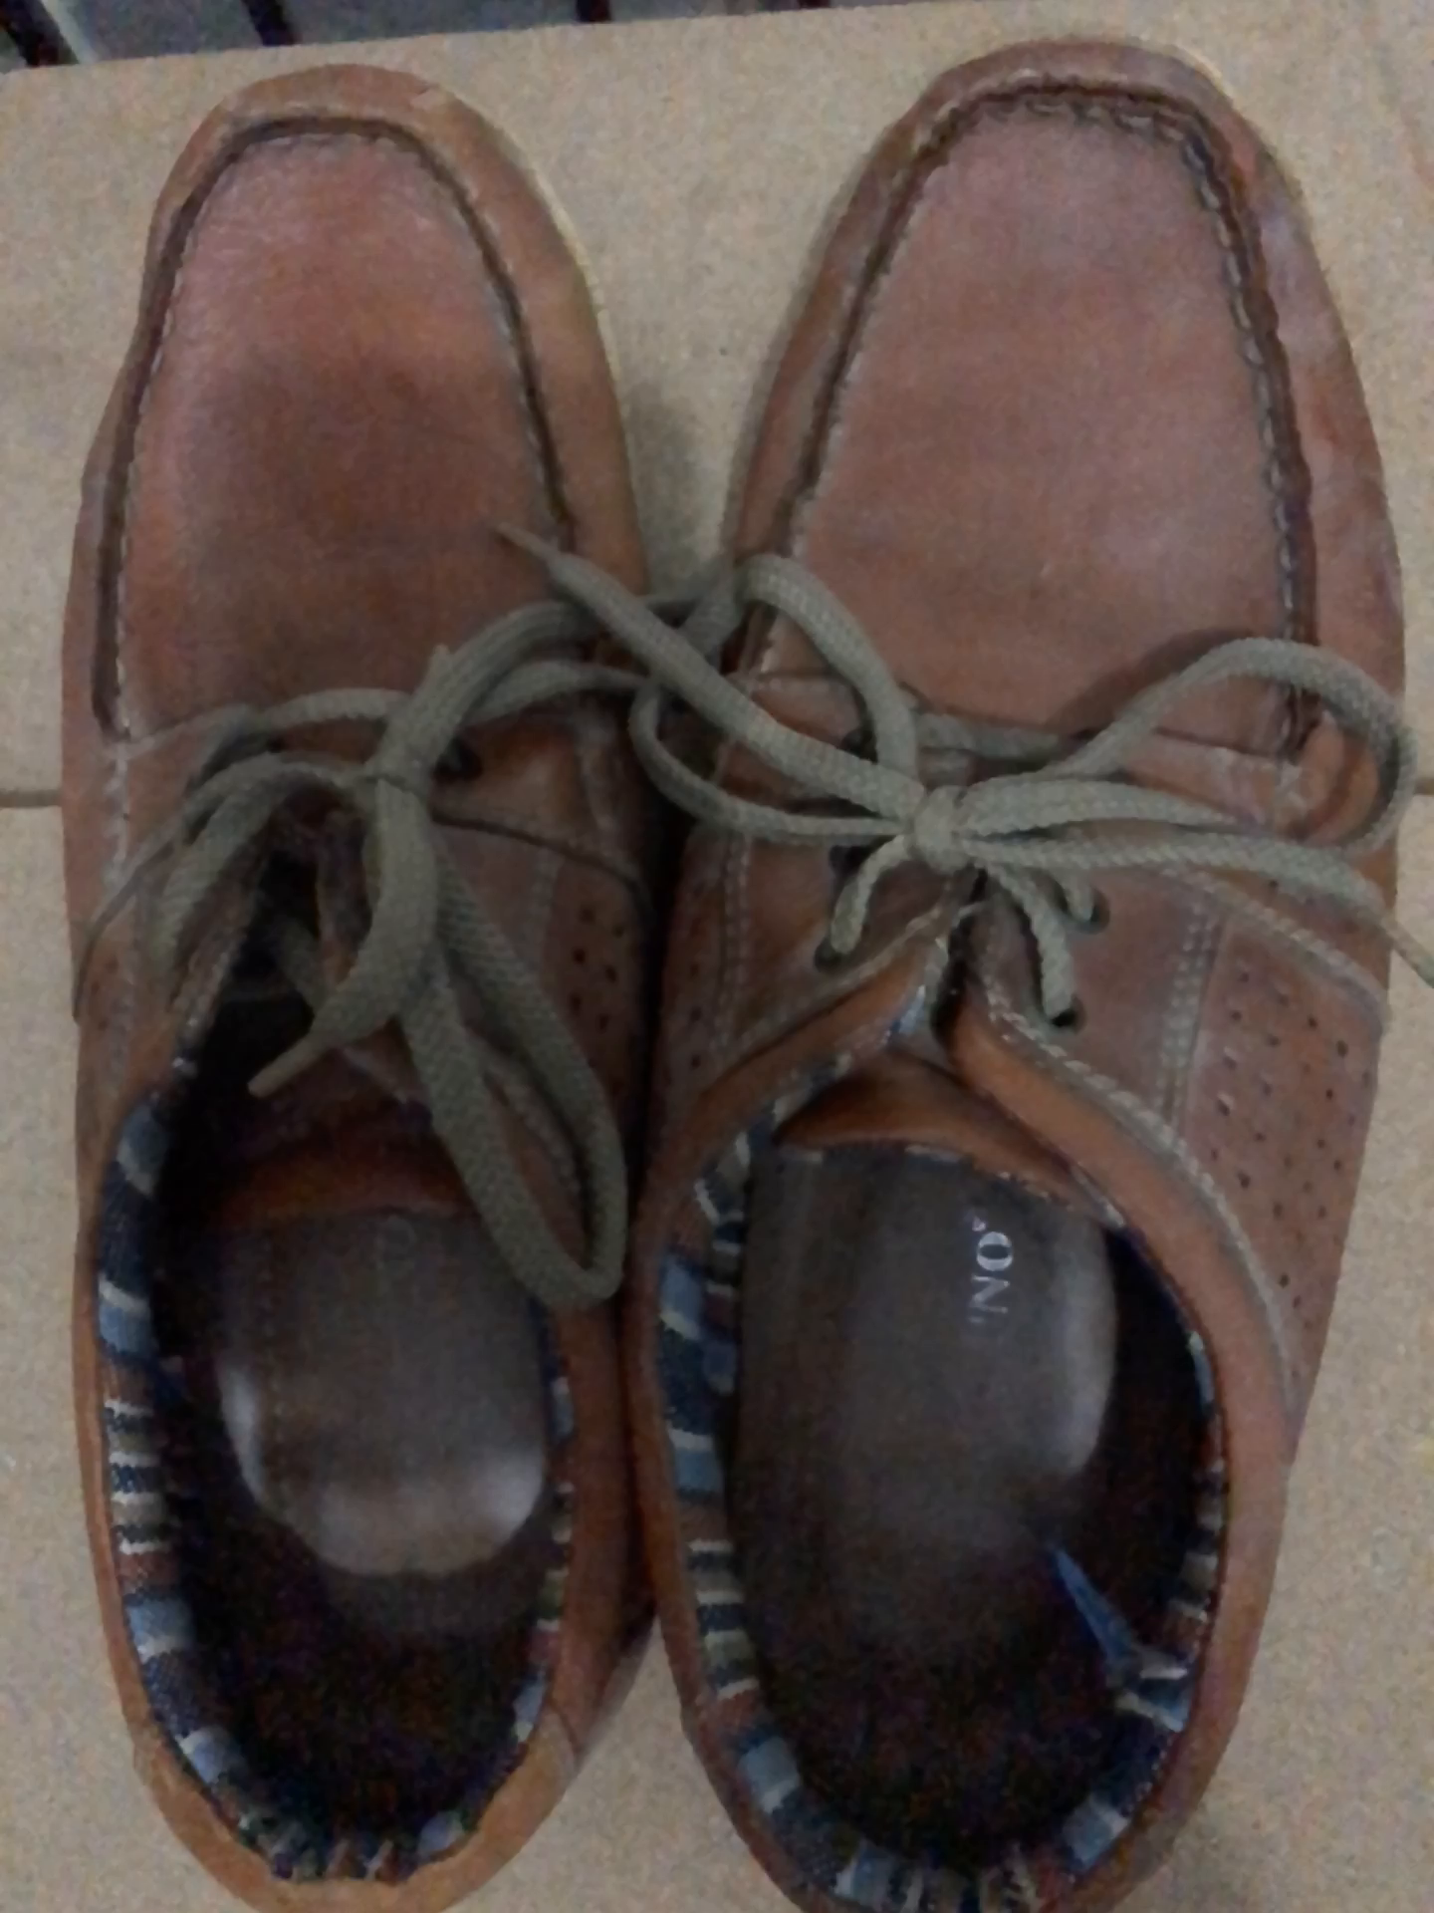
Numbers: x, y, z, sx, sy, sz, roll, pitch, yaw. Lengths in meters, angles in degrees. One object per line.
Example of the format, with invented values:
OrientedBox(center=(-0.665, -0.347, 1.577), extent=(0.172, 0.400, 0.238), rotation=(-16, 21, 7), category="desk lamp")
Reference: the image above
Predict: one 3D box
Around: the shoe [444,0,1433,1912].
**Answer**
OrientedBox(center=(0.042, -0.015, 0.221), extent=(0.100, 0.100, 0.280), rotation=(1, 80, 14), category="shoe")

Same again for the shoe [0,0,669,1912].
OrientedBox(center=(-0.074, -0.017, 0.245), extent=(0.100, 0.100, 0.287), rotation=(-5, 80, 13), category="shoe")
